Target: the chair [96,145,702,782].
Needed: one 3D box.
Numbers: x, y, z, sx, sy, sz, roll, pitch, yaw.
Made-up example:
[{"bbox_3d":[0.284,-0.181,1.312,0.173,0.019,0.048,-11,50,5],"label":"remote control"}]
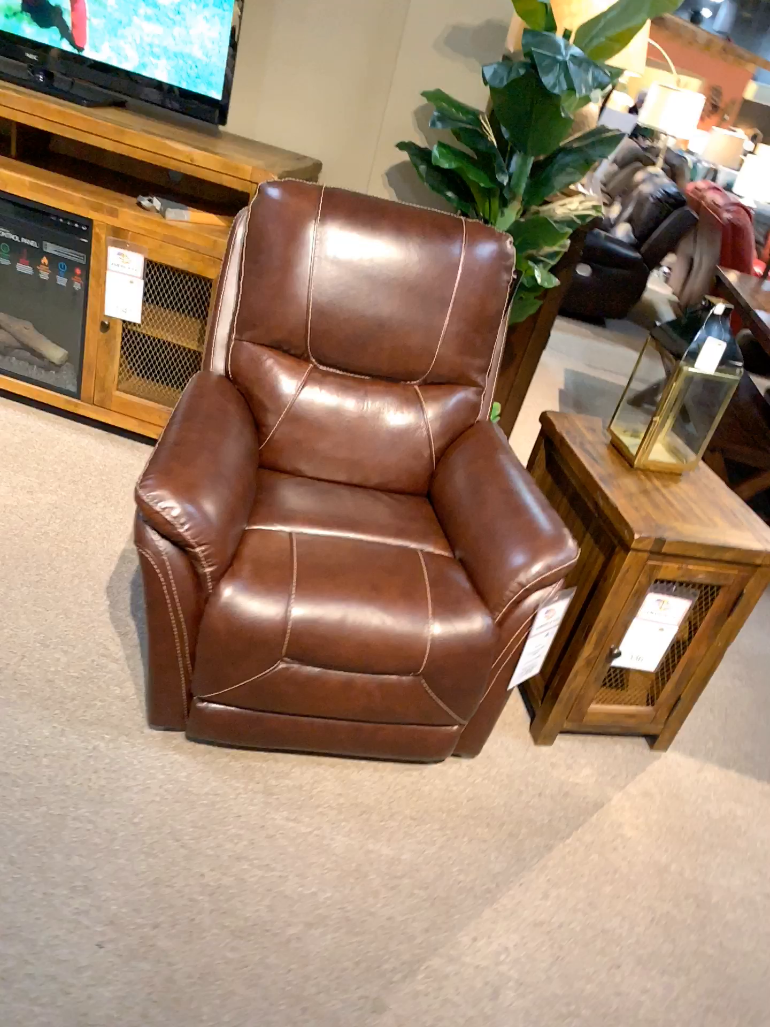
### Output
[{"bbox_3d":[-0.084,-0.128,1.759,0.848,0.974,0.917,9,31,-13],"label":"chair"}]
